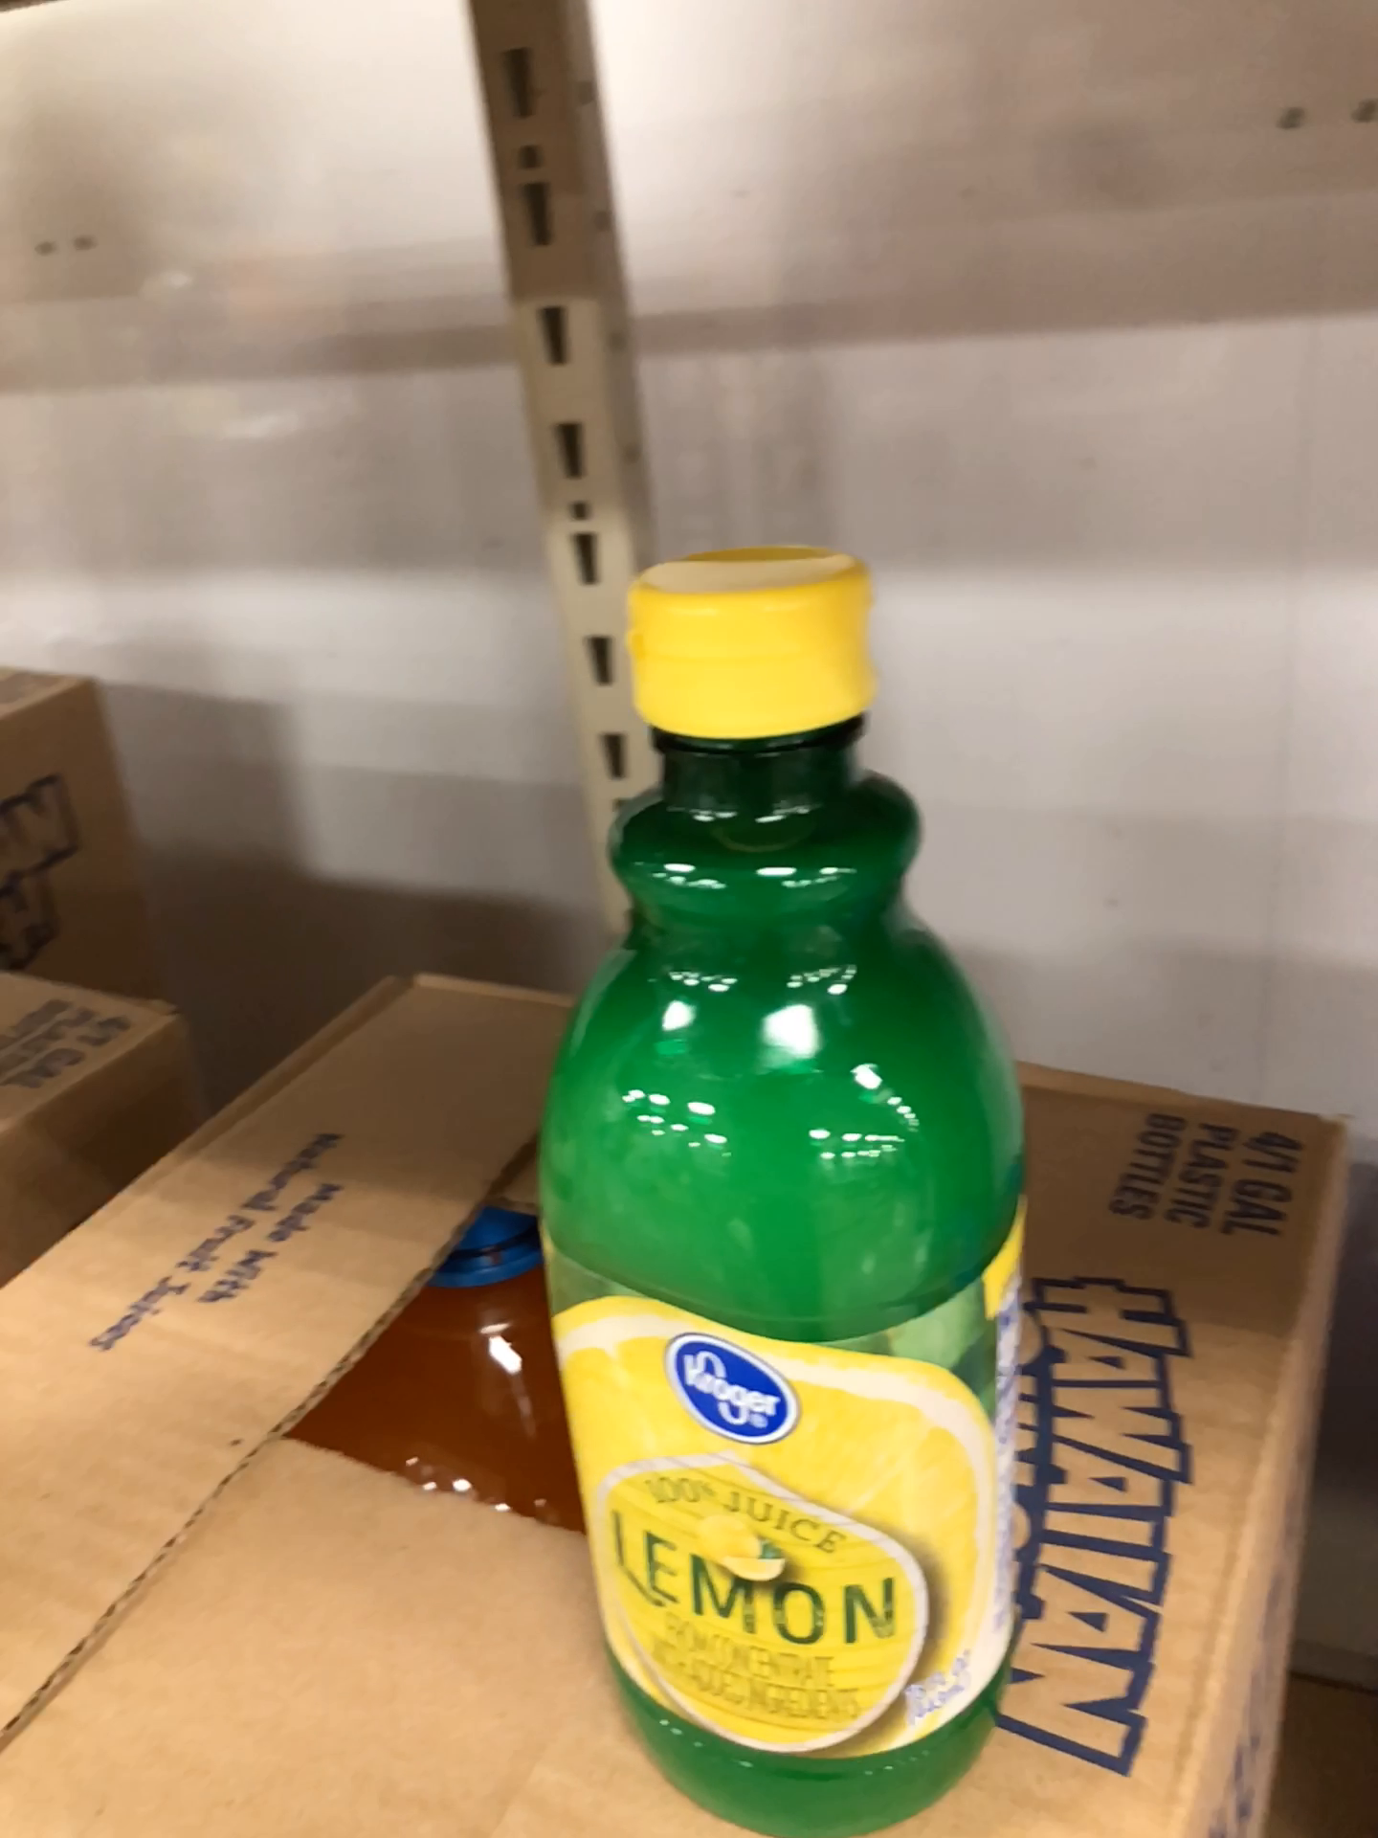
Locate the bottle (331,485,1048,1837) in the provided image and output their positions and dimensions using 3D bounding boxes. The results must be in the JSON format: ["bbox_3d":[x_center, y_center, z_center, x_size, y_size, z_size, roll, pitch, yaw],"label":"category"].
[{"bbox_3d":[0.013,0.040,0.221,0.070,0.184,0.070,-5,24,2],"label":"bottle"}]
